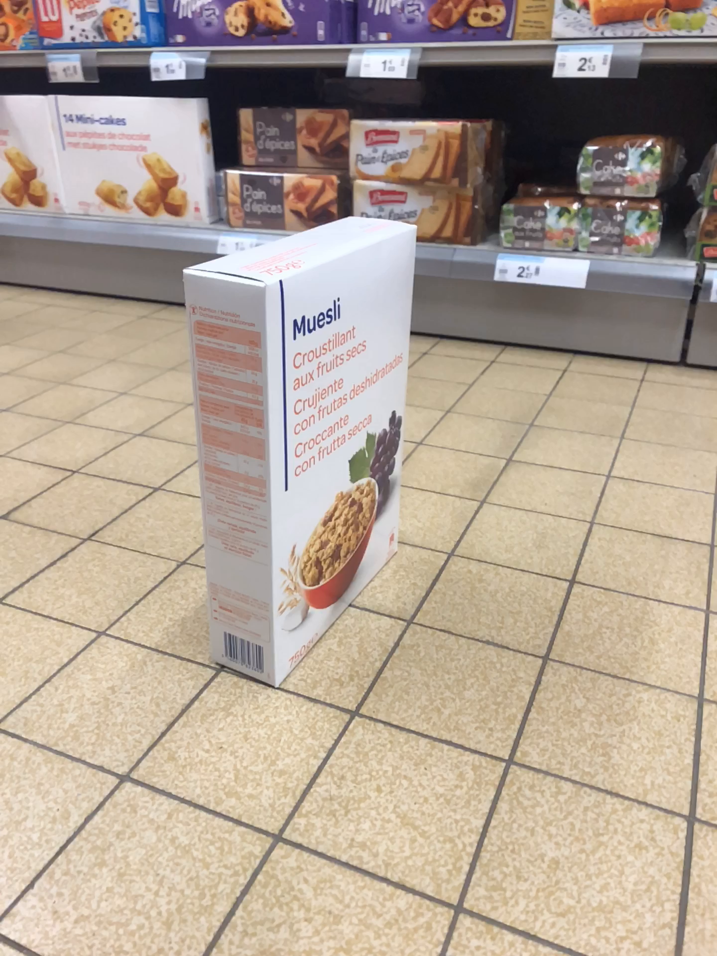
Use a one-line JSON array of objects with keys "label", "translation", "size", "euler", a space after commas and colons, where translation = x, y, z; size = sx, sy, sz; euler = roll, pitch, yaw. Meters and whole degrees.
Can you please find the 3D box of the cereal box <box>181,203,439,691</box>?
[{"label": "cereal box", "translation": [-0.021, -0.031, 0.534], "size": [0.060, 0.268, 0.201], "euler": [14, 30, 24]}]
